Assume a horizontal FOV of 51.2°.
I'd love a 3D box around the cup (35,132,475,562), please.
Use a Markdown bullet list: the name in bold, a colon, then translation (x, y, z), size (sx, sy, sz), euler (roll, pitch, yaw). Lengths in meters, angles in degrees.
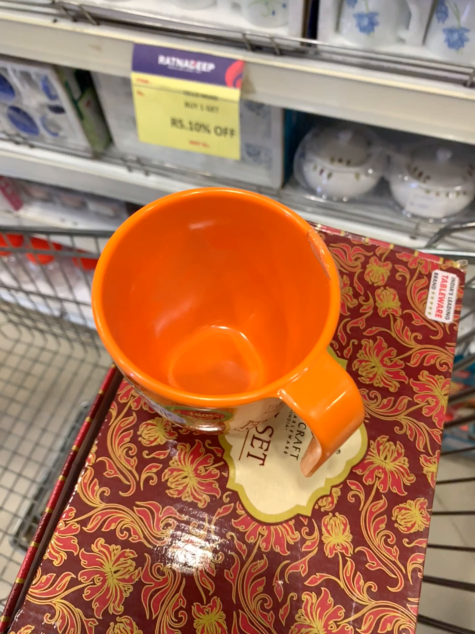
- **cup**: translation (0.007, 0.011, 0.176), size (0.110, 0.070, 0.080), euler (40, 71, 17)
